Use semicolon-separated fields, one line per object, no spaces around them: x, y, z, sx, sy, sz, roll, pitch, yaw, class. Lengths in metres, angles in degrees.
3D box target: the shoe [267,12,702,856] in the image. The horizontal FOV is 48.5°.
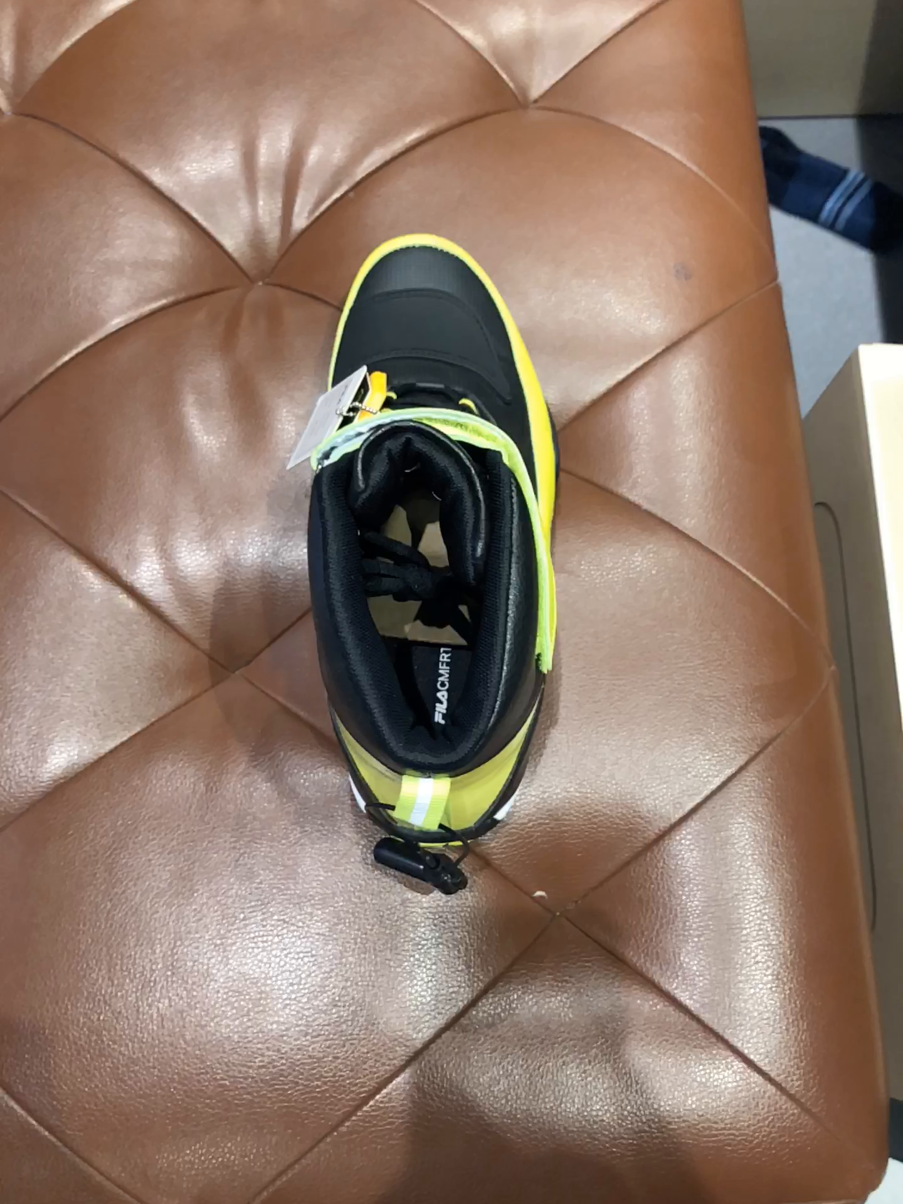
0.000;-0.052;0.393;0.116;0.173;0.274;-2;71;-2;shoe
